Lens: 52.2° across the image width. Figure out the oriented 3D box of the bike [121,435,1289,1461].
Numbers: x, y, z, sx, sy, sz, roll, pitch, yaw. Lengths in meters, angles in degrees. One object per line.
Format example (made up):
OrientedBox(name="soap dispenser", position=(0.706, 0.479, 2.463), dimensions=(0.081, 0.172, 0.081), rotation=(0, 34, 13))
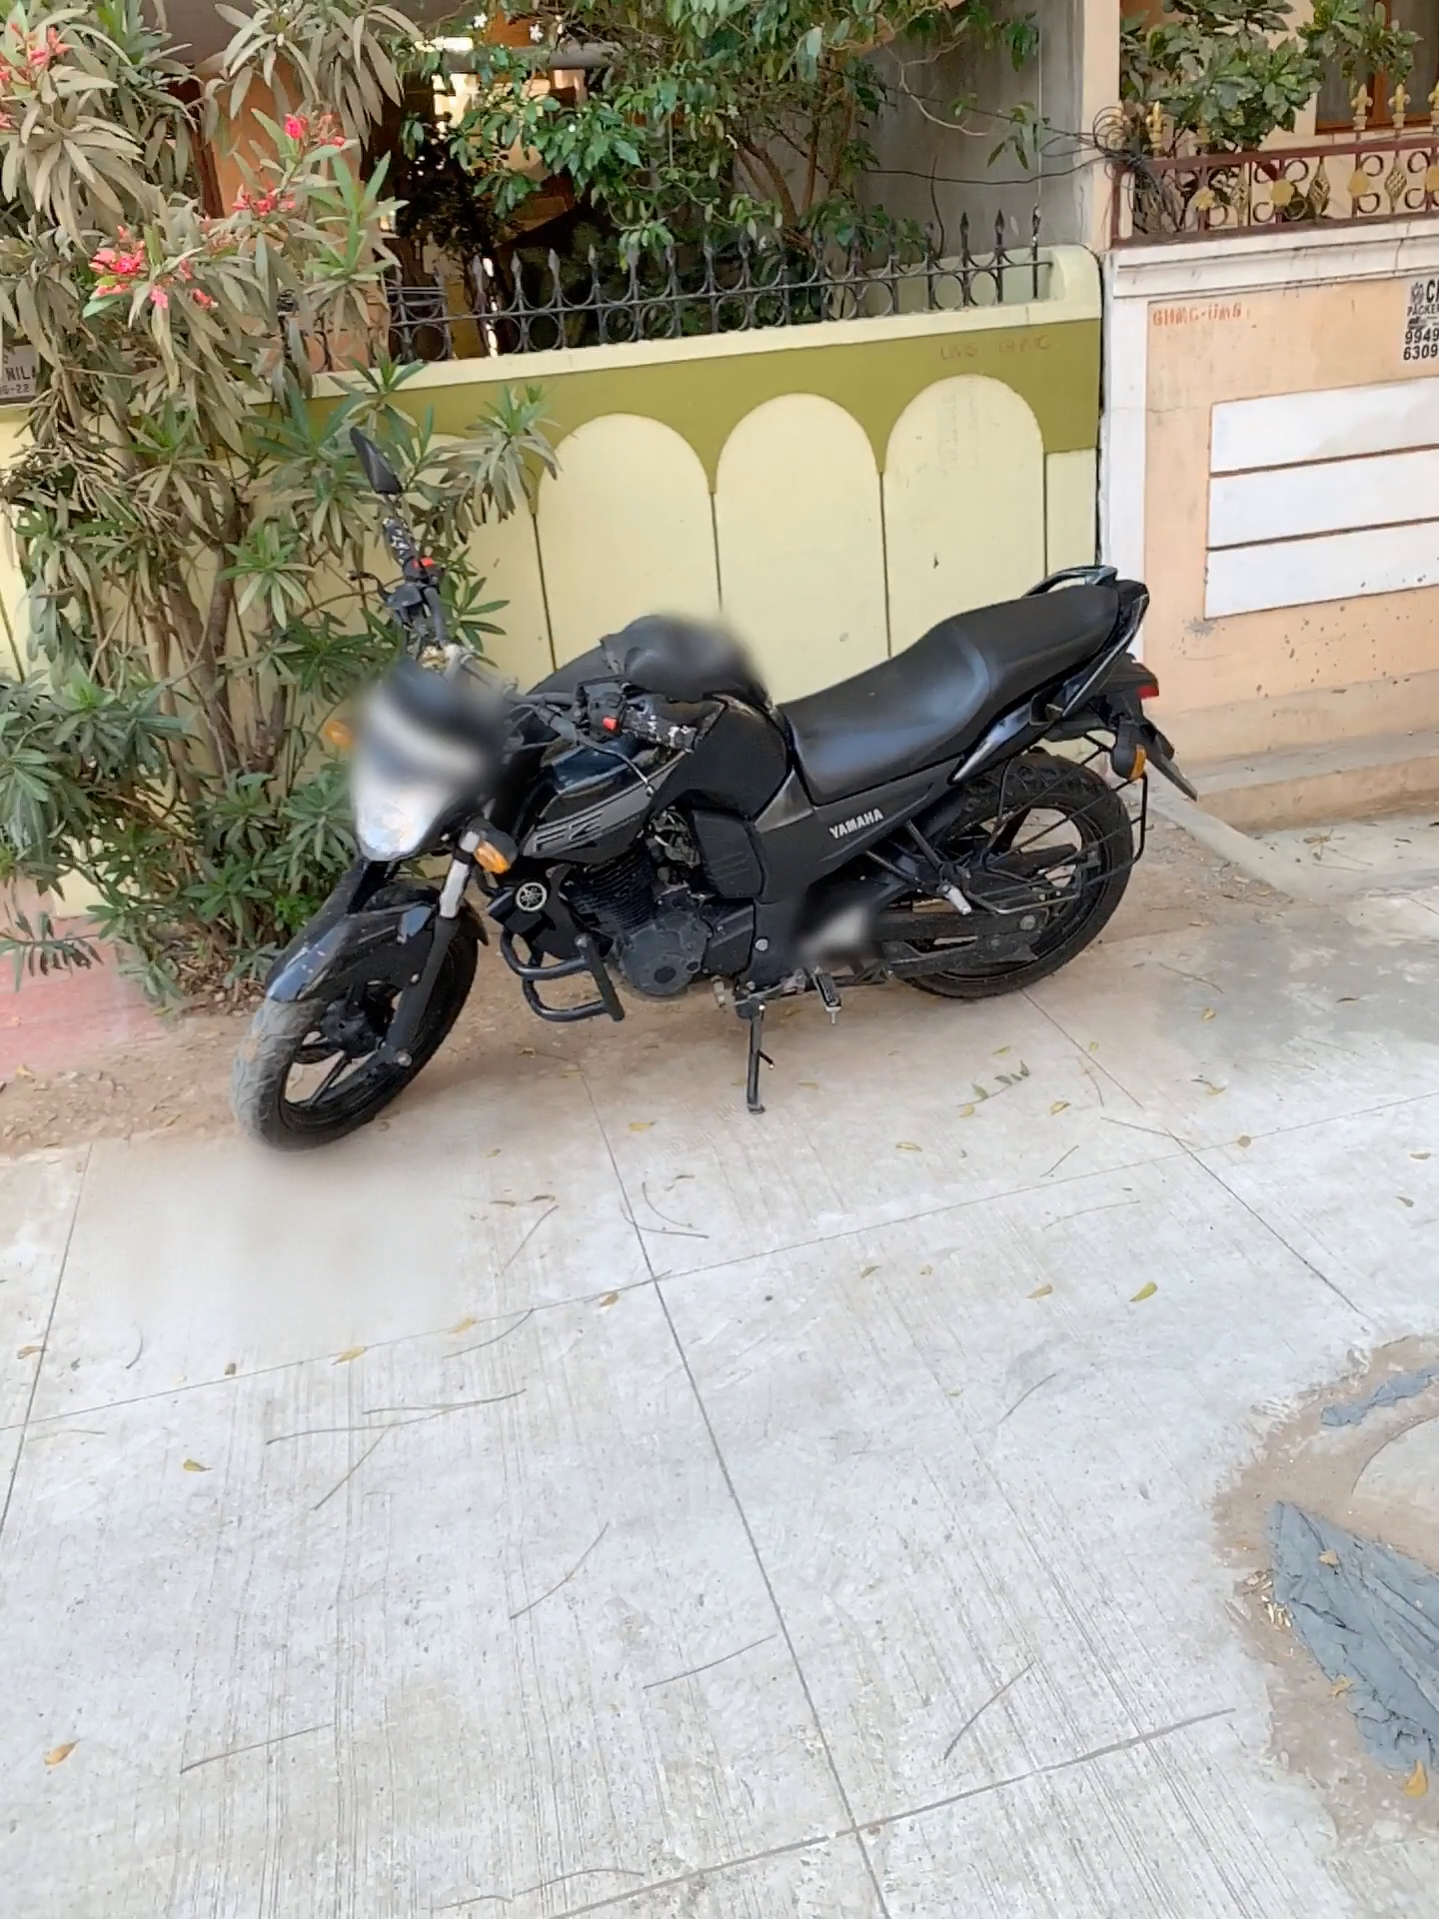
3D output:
OrientedBox(name="bike", position=(0.016, -0.126, 2.525), dimensions=(1.683, 1.076, 0.749), rotation=(-16, 25, -12))
